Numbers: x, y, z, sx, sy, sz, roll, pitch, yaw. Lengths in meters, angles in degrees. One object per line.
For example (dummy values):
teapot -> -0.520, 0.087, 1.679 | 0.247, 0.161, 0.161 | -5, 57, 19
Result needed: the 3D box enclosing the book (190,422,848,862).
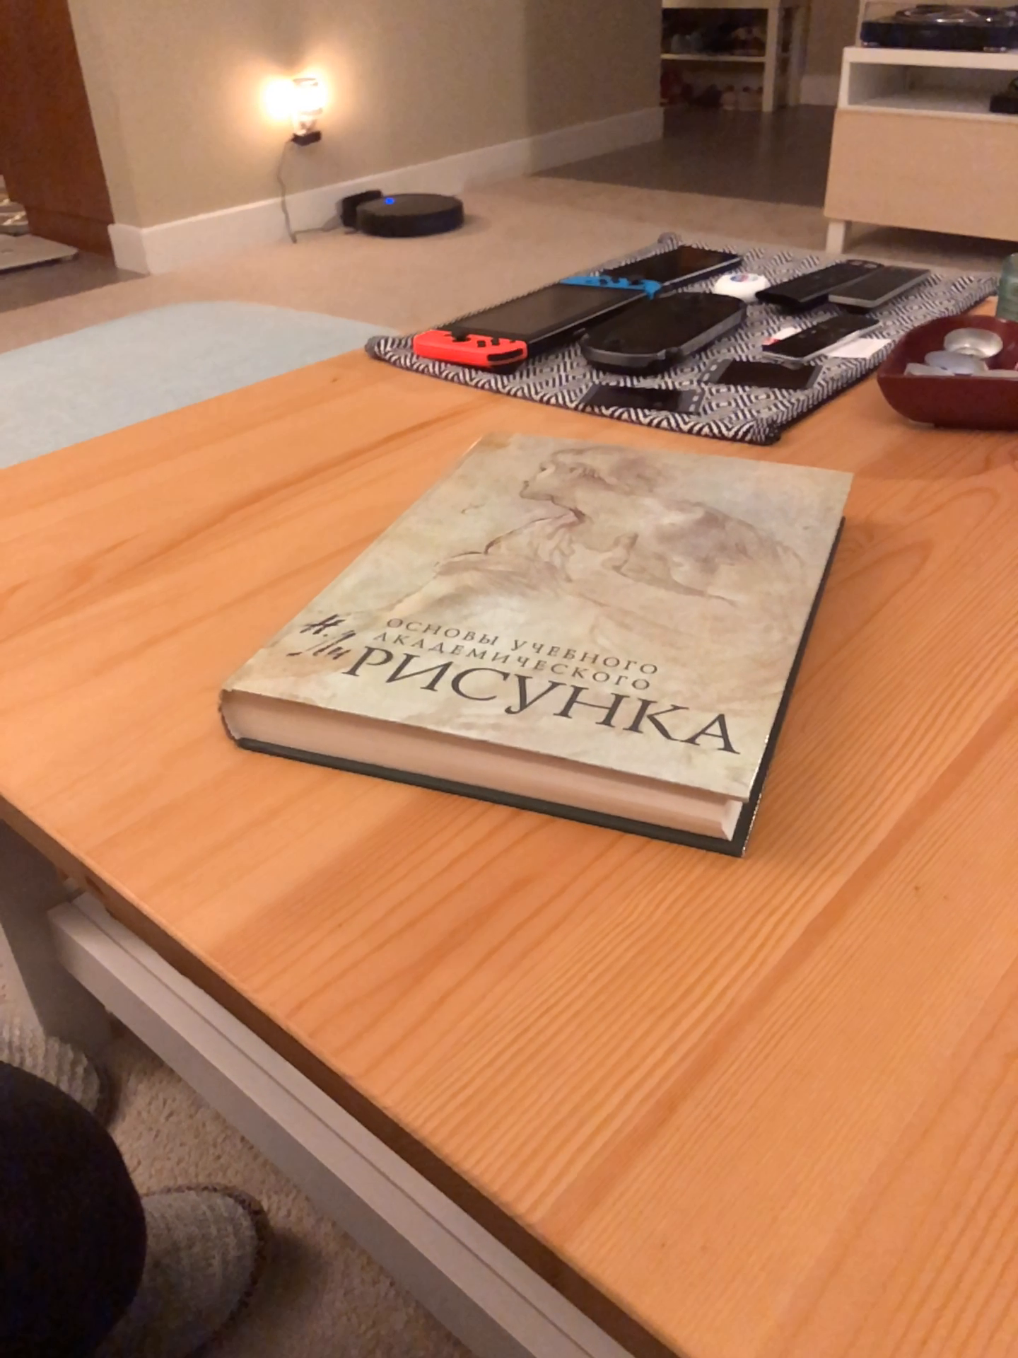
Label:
book -> 0.026, -0.042, 0.512 | 0.214, 0.030, 0.273 | 11, 36, 18
